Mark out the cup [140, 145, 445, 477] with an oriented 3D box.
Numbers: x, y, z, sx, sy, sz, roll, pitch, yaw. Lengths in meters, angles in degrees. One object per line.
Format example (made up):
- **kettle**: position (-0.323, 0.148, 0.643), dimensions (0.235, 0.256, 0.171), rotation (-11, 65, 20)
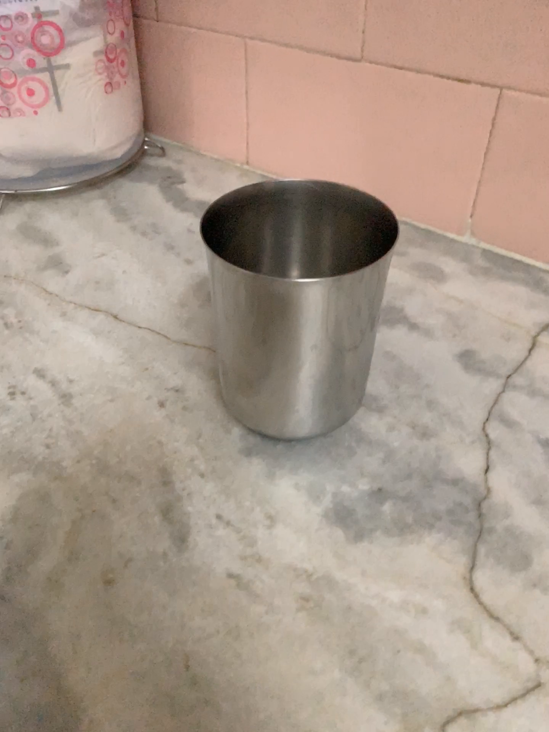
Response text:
- **cup**: position (0.005, -0.027, 0.240), dimensions (0.080, 0.090, 0.080), rotation (0, 42, 0)
